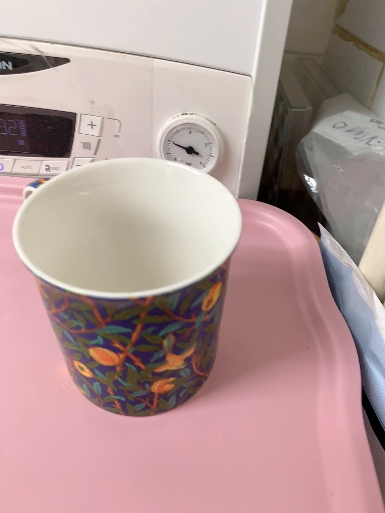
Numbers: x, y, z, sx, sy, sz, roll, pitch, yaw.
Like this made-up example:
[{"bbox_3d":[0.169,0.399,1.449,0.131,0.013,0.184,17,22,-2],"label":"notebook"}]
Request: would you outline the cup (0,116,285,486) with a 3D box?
[{"bbox_3d":[-0.041,0.004,0.171,0.121,0.079,0.080,33,45,31],"label":"cup"}]
